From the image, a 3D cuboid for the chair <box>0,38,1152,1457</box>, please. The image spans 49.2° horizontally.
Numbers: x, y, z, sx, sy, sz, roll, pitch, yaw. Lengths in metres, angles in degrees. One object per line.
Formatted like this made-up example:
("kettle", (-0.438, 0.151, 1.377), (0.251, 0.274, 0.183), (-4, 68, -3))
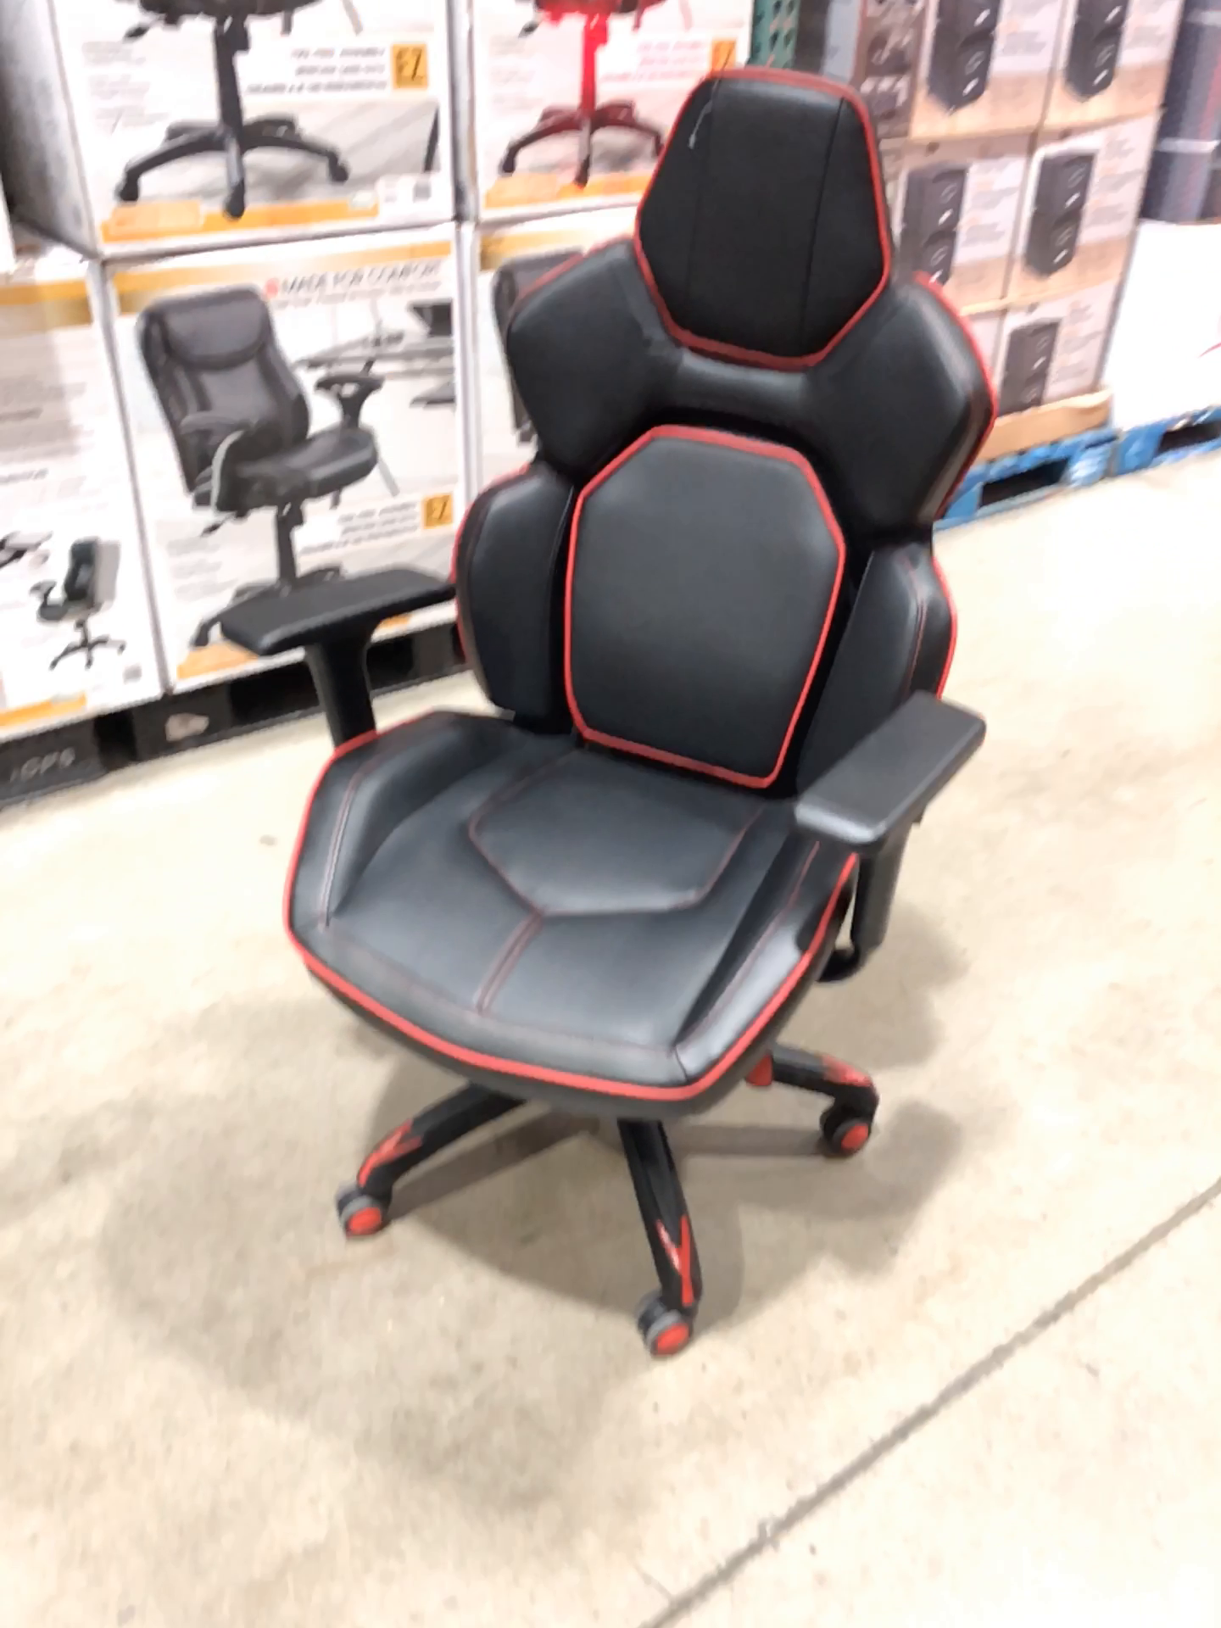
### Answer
("chair", (0.017, -0.106, 1.394), (0.721, 1.145, 0.723), (14, 35, 17))
